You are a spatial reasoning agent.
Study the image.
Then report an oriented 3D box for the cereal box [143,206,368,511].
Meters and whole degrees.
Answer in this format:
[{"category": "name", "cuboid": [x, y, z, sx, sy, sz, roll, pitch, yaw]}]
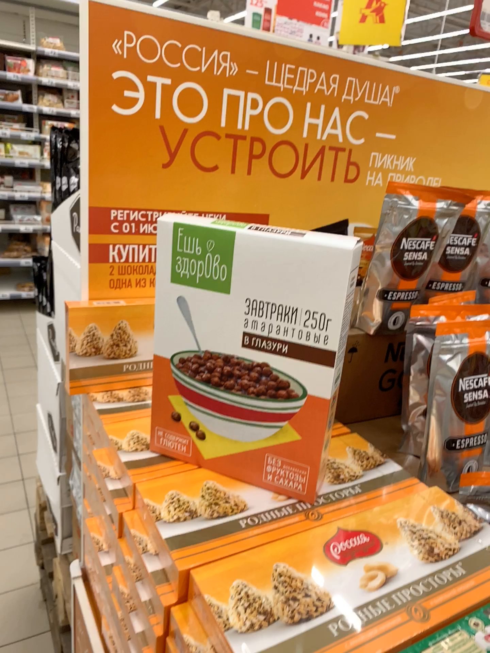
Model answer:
[{"category": "cereal box", "cuboid": [0.001, 0.026, 0.504, 0.190, 0.259, 0.060, 13, 19, 20]}]
